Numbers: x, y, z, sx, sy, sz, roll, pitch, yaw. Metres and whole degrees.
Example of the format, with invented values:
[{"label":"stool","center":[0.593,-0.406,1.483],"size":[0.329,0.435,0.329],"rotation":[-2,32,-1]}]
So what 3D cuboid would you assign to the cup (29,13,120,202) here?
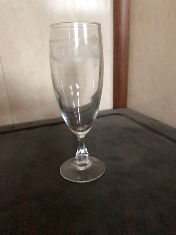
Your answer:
[{"label":"cup","center":[-0.009,-0.010,0.210],"size":[0.060,0.169,0.060],"rotation":[-3,18,1]}]
